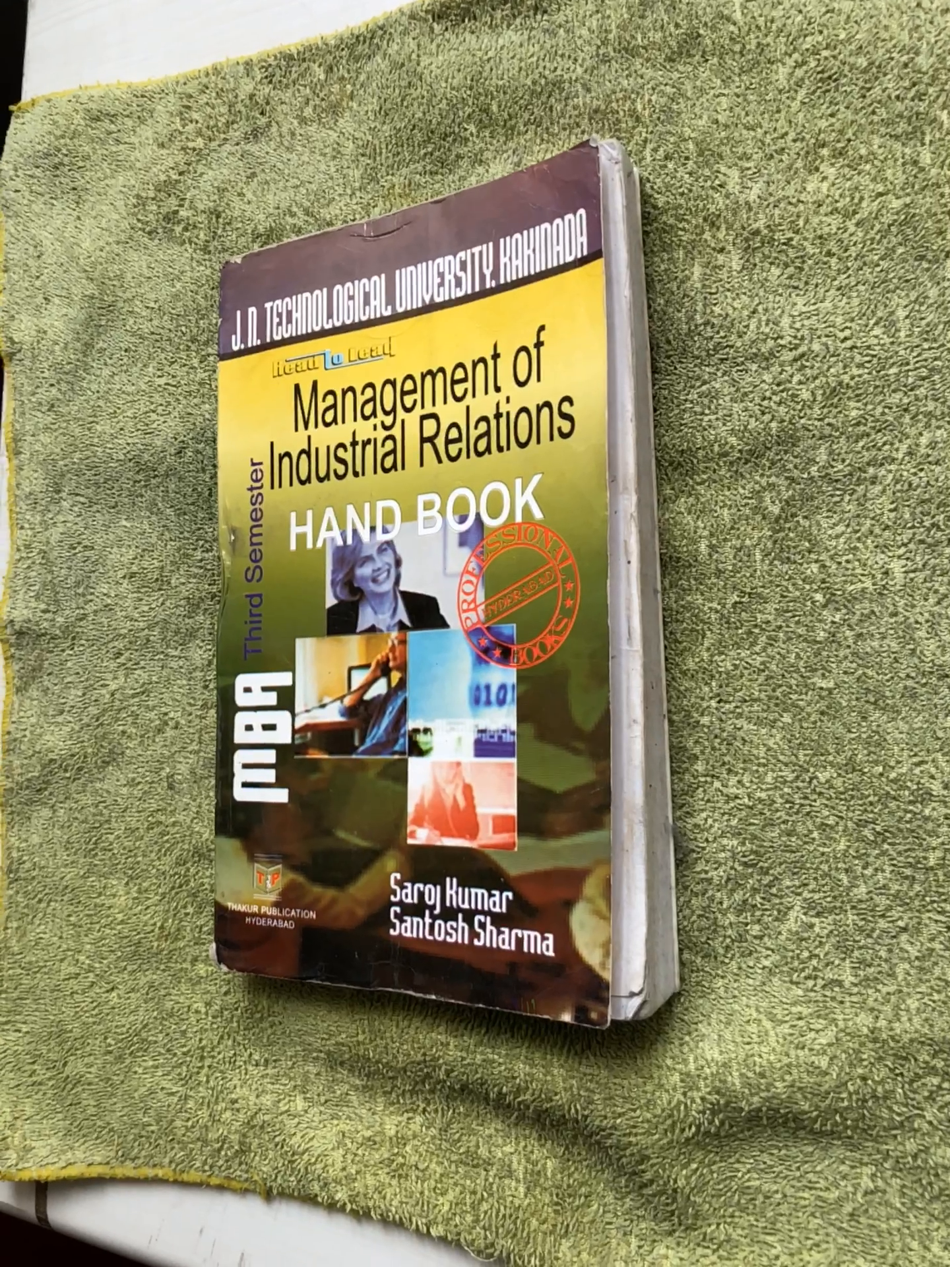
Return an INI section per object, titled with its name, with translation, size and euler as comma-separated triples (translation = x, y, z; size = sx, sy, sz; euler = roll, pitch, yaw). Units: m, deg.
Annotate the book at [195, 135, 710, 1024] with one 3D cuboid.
[book]
translation = -0.009, -0.012, 0.313
size = 0.140, 0.050, 0.220
euler = -3, 84, 27
